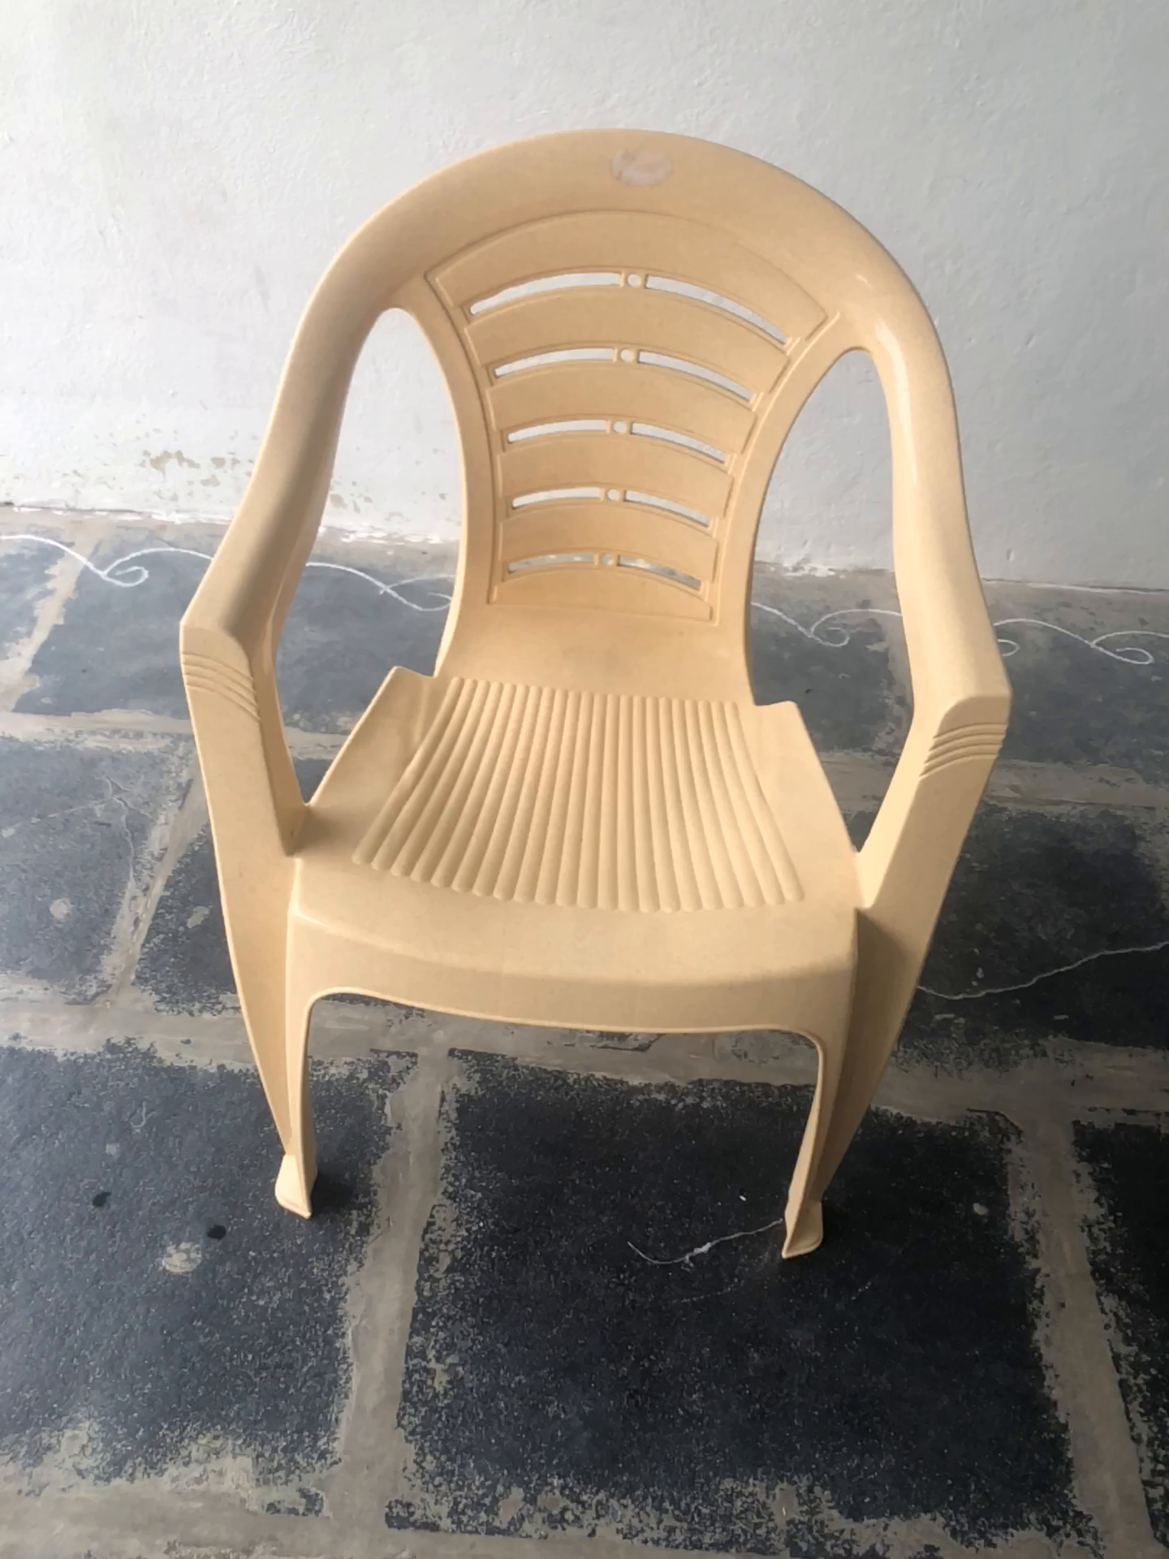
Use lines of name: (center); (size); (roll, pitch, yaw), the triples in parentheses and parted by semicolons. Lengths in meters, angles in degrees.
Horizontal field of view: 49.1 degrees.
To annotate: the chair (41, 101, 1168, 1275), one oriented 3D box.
chair: (0.026, -0.060, 1.100); (0.620, 0.736, 0.653); (2, 44, -4)
